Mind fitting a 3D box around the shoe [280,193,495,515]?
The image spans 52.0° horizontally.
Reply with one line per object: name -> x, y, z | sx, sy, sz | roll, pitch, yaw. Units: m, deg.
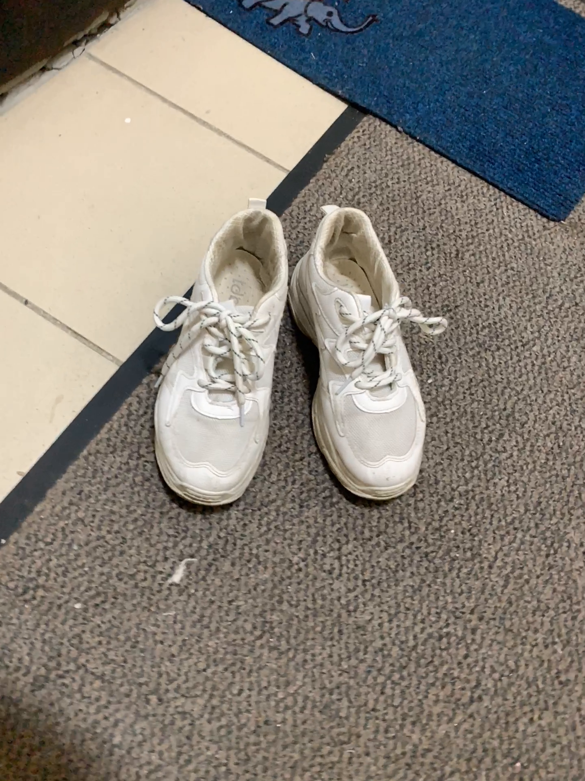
shoe -> 0.064, -0.030, 0.518 | 0.100, 0.140, 0.230 | -6, 65, -10

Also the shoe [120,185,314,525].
shoe -> -0.054, -0.026, 0.498 | 0.100, 0.140, 0.230 | 9, 63, -3
